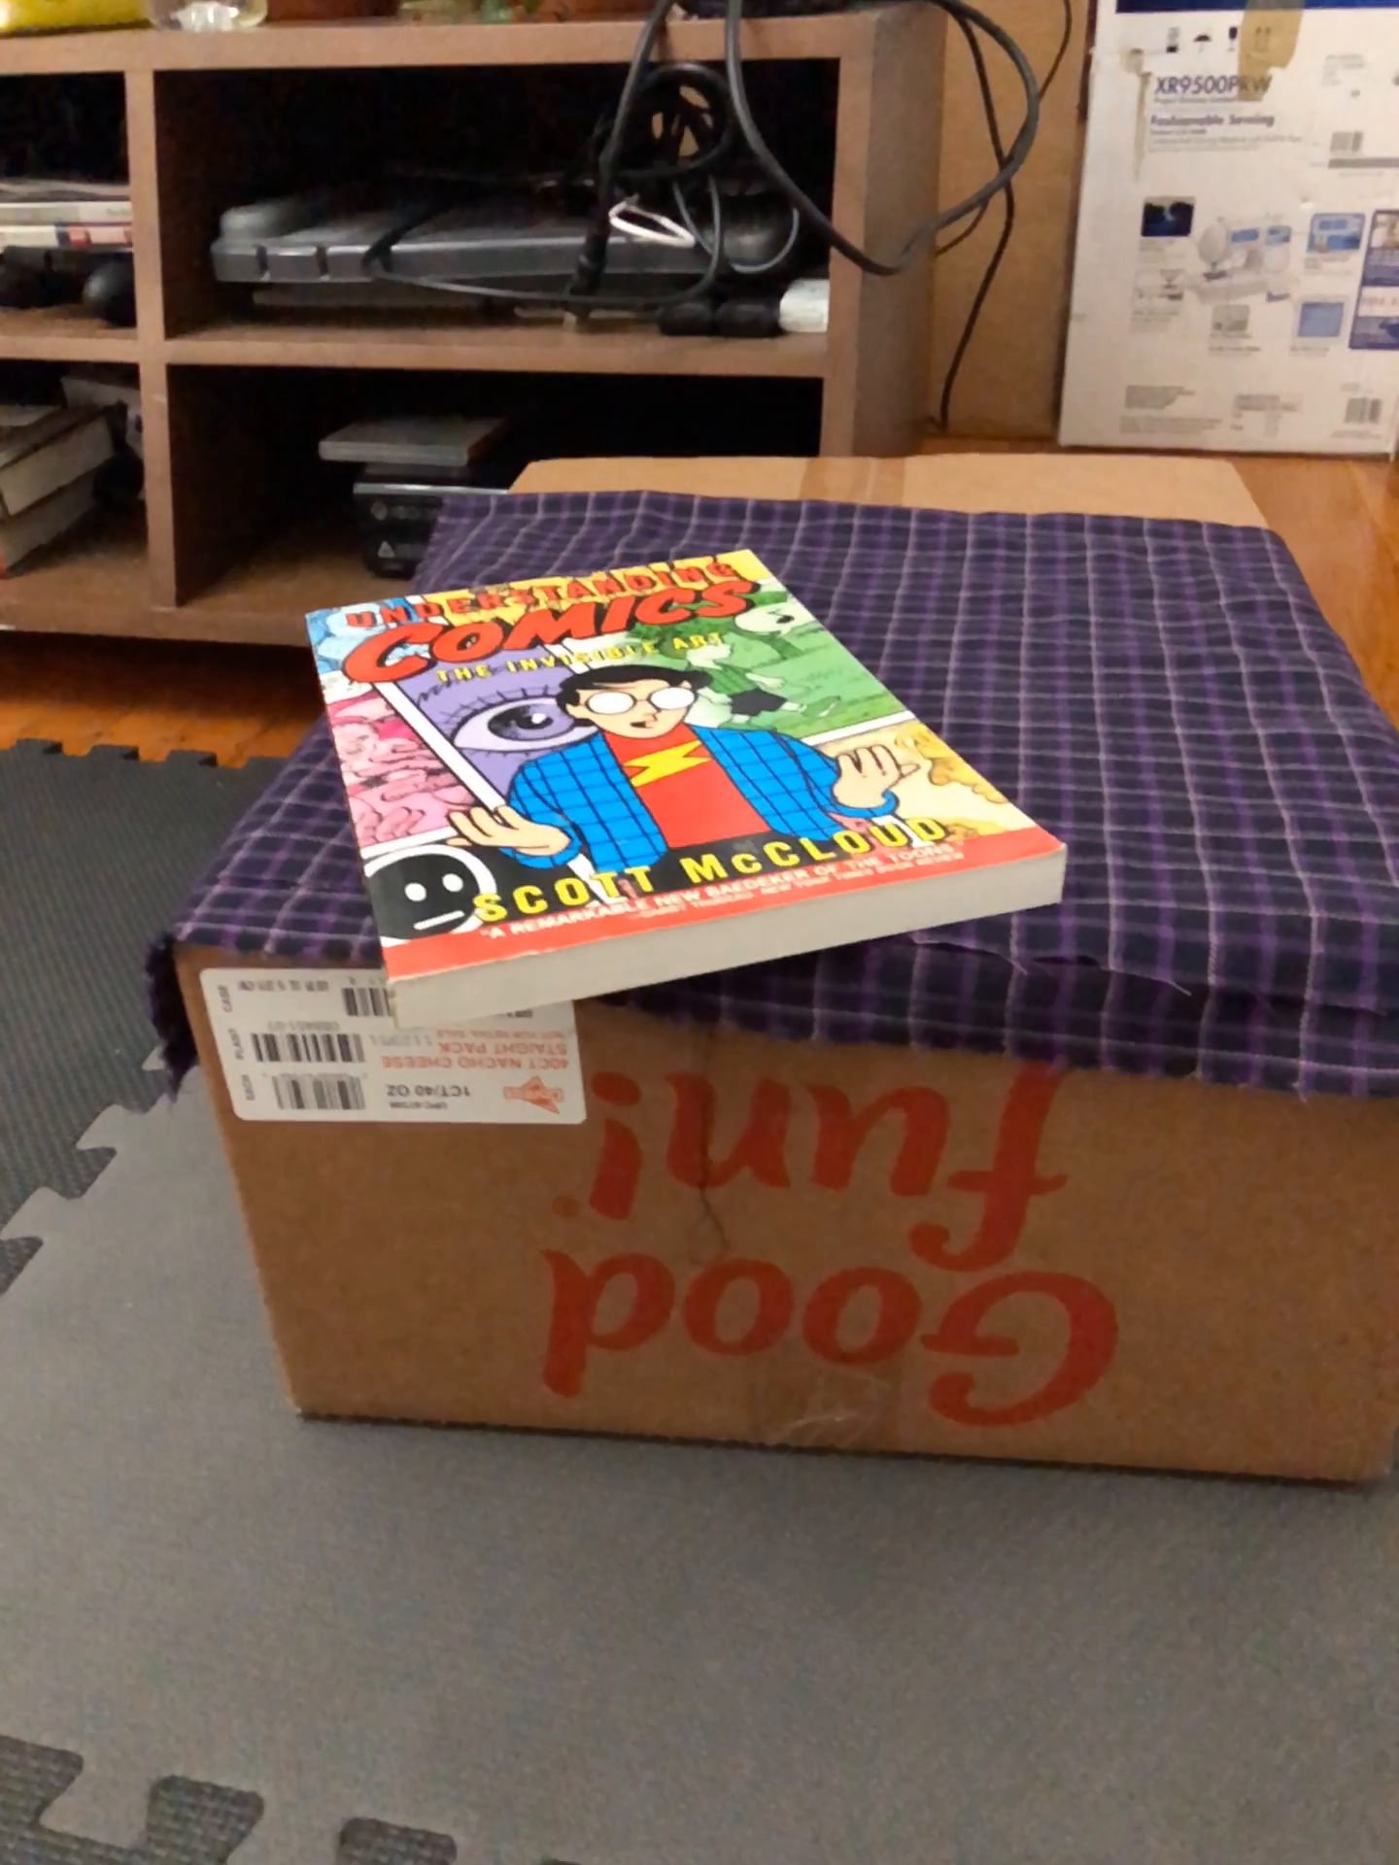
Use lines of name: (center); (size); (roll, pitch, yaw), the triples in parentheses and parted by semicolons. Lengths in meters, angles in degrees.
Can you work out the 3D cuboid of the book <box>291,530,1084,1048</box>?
book: (-0.027, -0.065, 0.470); (0.170, 0.020, 0.271); (-11, 32, -13)
